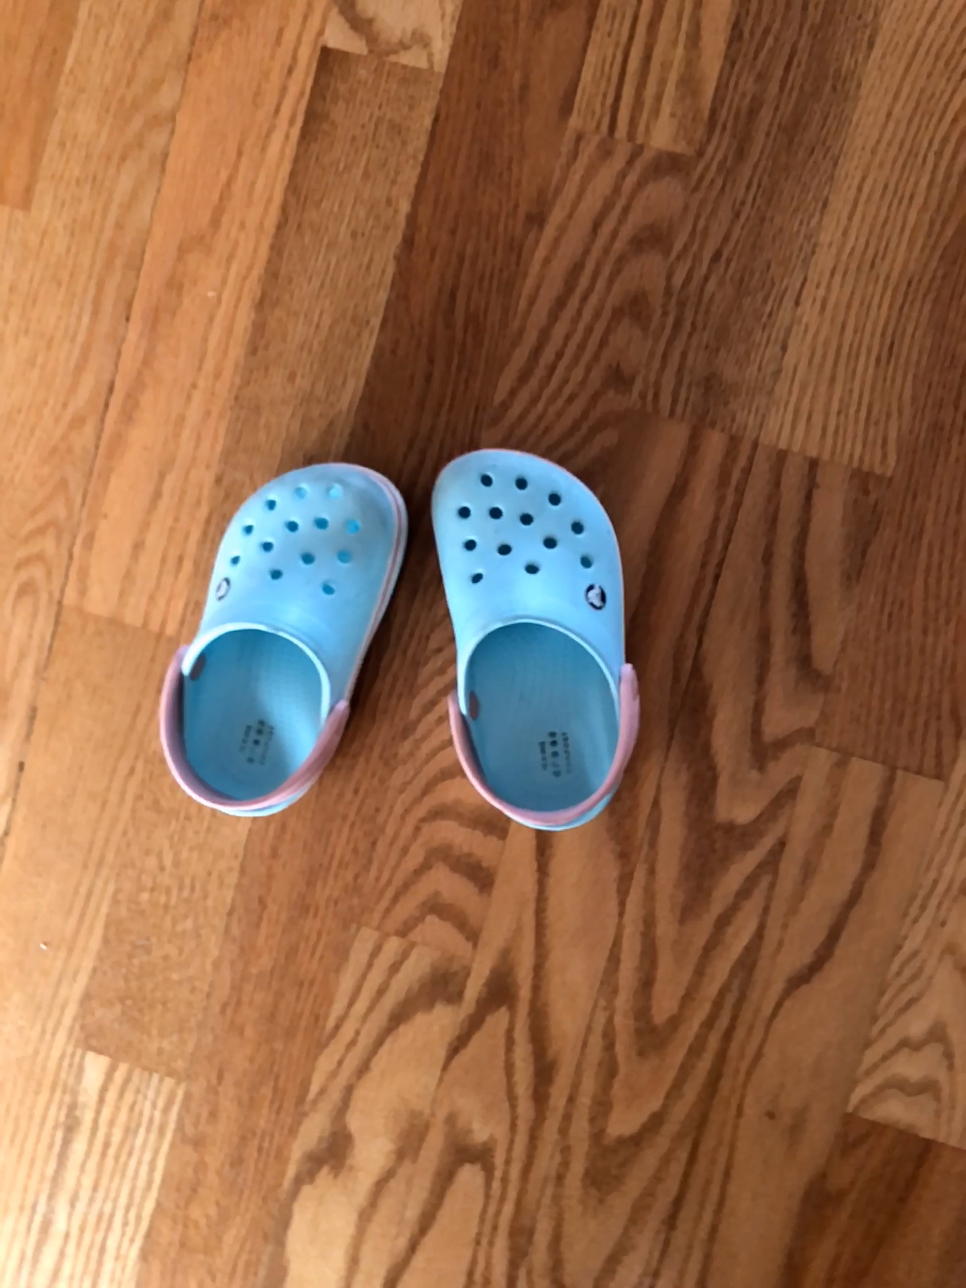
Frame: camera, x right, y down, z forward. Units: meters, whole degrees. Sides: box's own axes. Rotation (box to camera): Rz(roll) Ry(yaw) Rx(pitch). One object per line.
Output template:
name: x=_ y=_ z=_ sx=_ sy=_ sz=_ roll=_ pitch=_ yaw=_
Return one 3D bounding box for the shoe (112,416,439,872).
shoe: x=-0.085 y=-0.001 z=0.456 sx=0.083 sy=0.057 sz=0.165 roll=17 pitch=94 yaw=6

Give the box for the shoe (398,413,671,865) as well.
shoe: x=0.022 y=-0.001 z=0.439 sx=0.083 sy=0.048 sz=0.165 roll=-8 pitch=91 yaw=7
